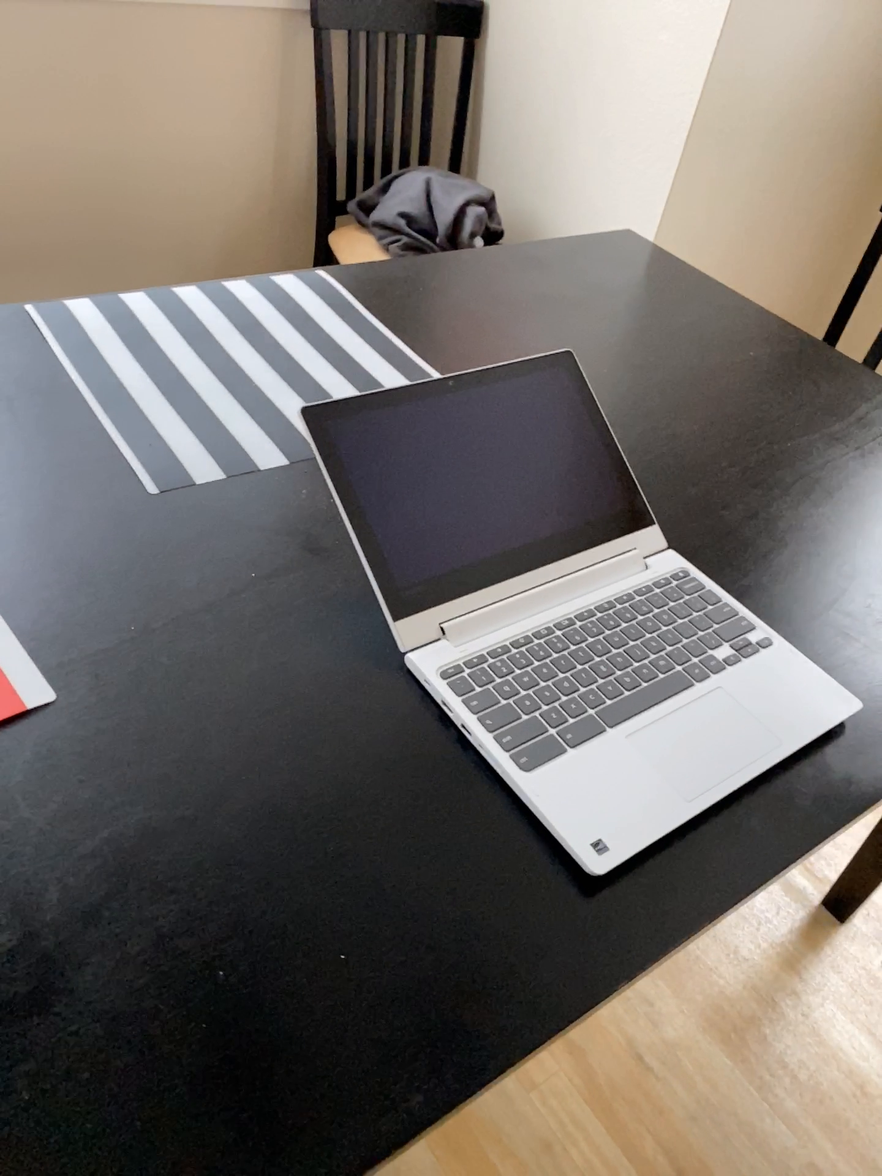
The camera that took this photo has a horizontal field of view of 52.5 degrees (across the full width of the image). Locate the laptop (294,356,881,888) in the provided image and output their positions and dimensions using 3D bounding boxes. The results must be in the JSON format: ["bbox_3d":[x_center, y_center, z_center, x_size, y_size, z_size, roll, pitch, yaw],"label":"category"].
[{"bbox_3d":[0.110,-0.018,0.674,0.286,0.105,0.381,-20,49,-32],"label":"laptop"}]
